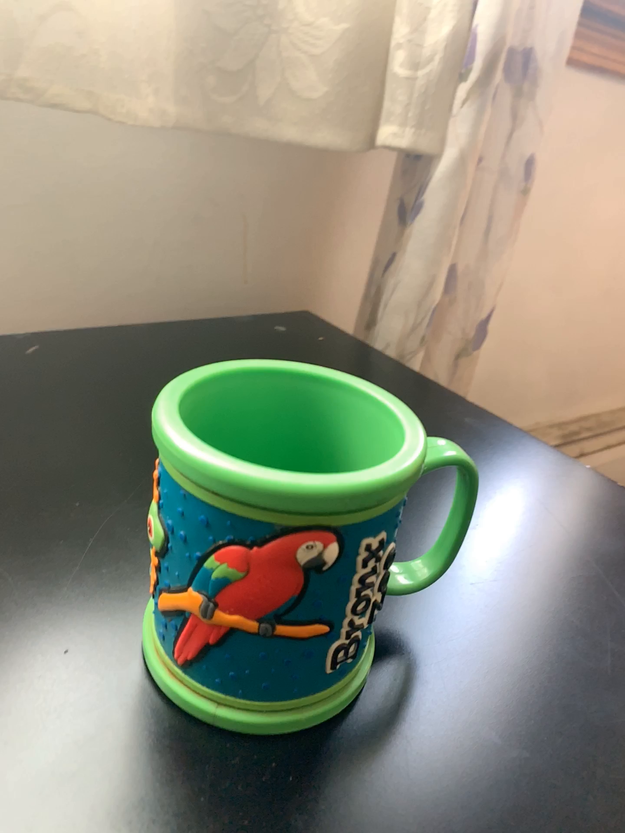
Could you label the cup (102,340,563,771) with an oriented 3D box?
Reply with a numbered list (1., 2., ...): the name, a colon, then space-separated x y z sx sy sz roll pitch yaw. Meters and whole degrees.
1. cup: -0.004 0.036 0.219 0.120 0.099 0.080 -2 27 -22
